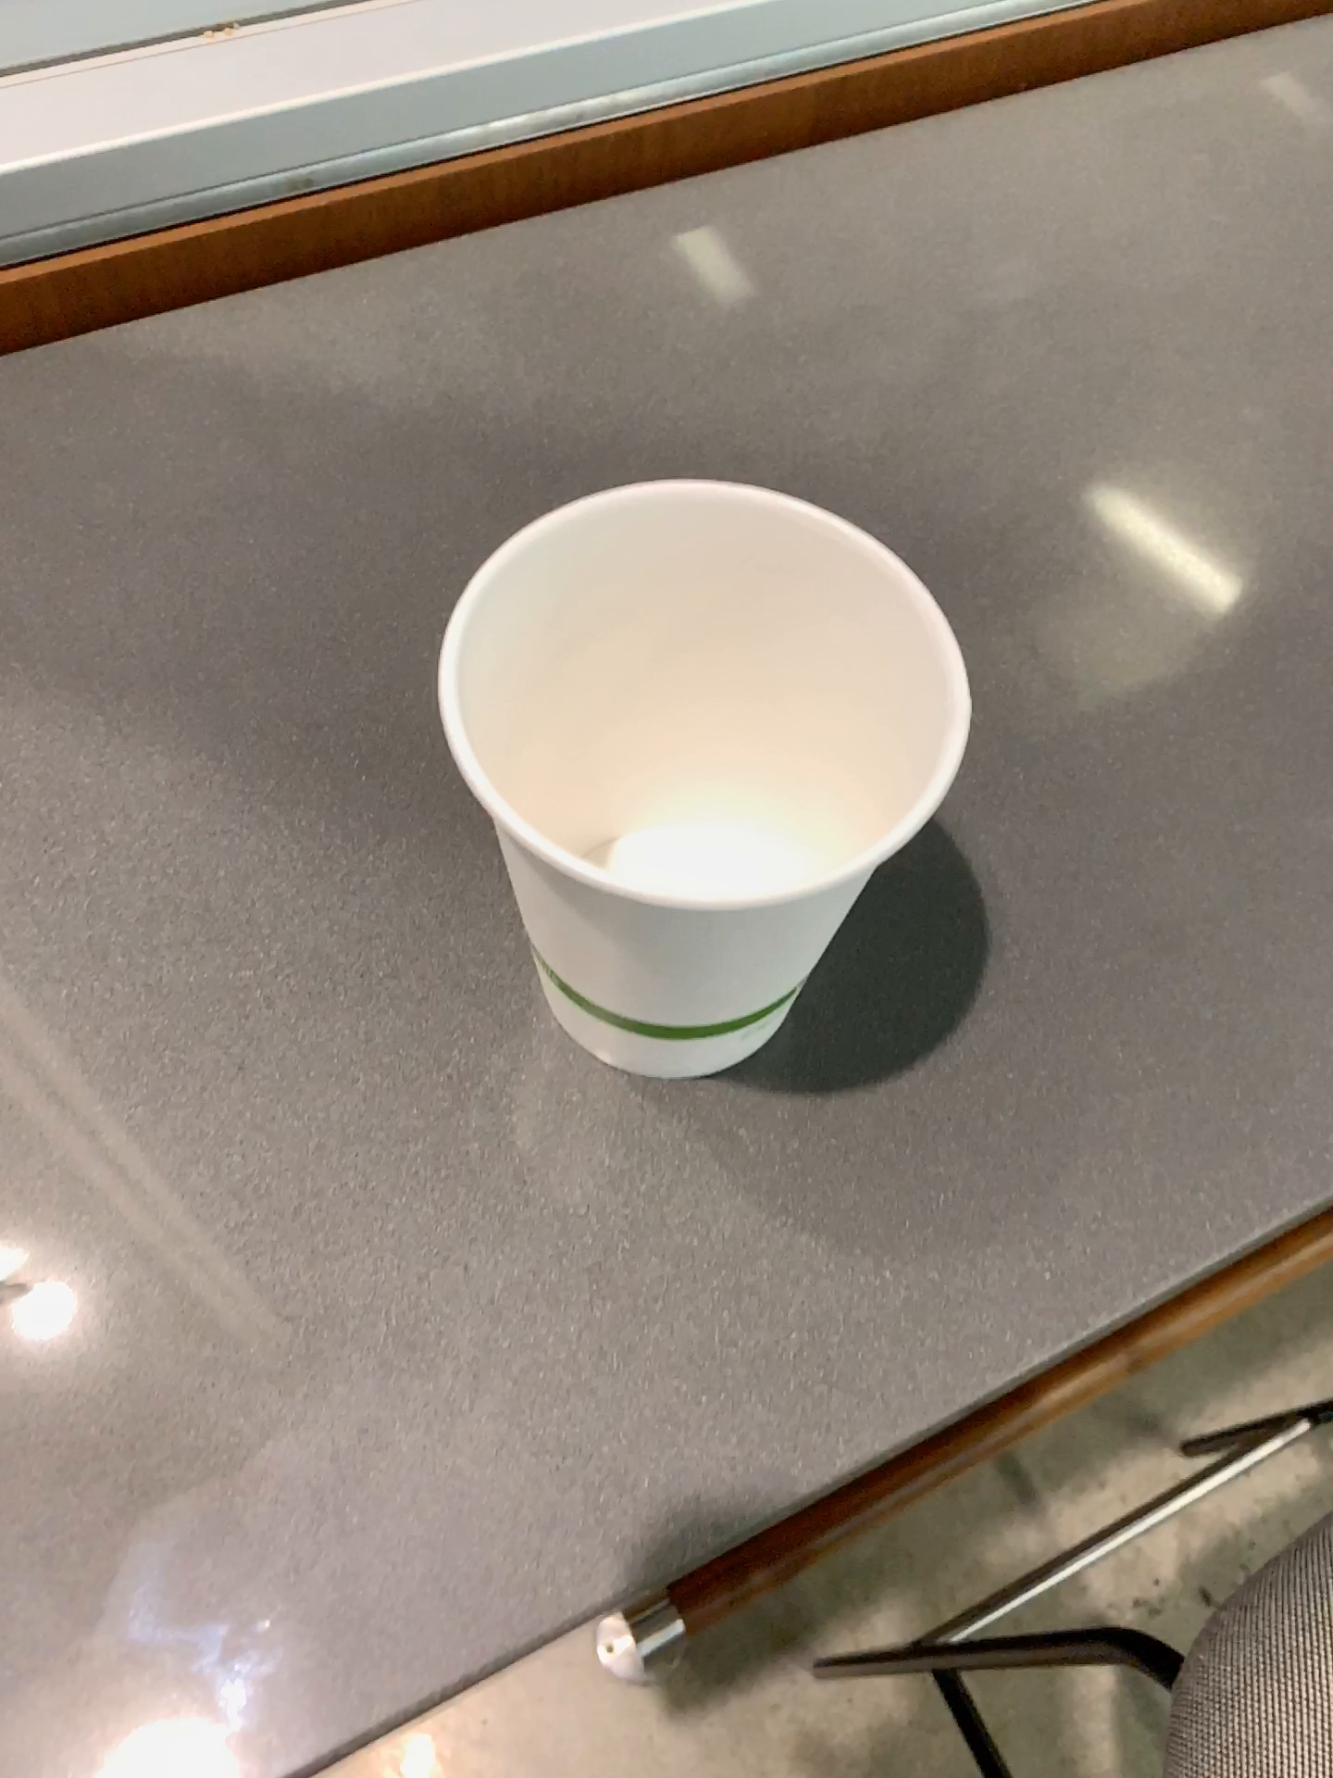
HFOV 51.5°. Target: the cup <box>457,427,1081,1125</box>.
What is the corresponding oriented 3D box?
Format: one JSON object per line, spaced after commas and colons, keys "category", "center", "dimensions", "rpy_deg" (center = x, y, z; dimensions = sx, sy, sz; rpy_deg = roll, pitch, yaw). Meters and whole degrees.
{"category": "cup", "center": [0.011, -0.017, 0.264], "dimensions": [0.090, 0.100, 0.090], "rpy_deg": [1, 59, -2]}
